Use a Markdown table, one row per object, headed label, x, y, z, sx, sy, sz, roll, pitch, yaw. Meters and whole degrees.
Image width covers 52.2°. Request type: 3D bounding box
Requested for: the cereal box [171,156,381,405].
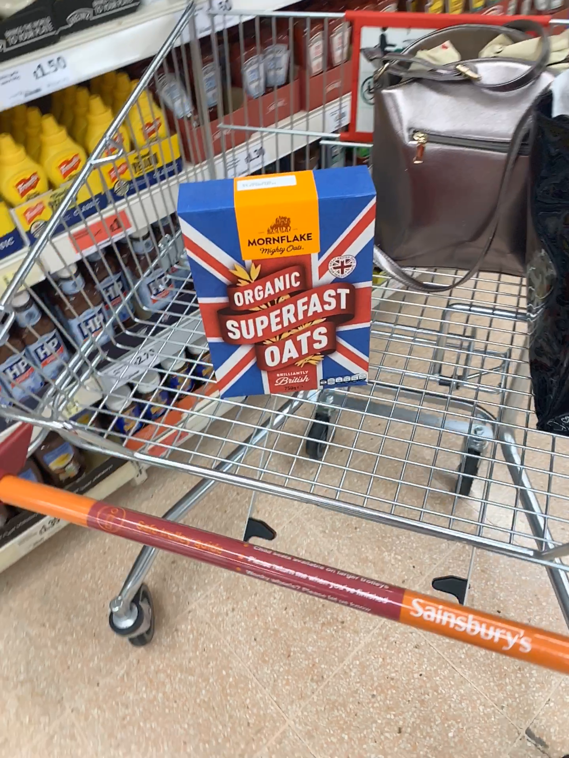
| label | x | y | z | sx | sy | sz | roll | pitch | yaw |
| --- | --- | --- | --- | --- | --- | --- | --- | --- | --- |
| cereal box | 0.000 | -0.087 | 0.604 | 0.180 | 0.258 | 0.050 | -6 | 45 | 0 |
